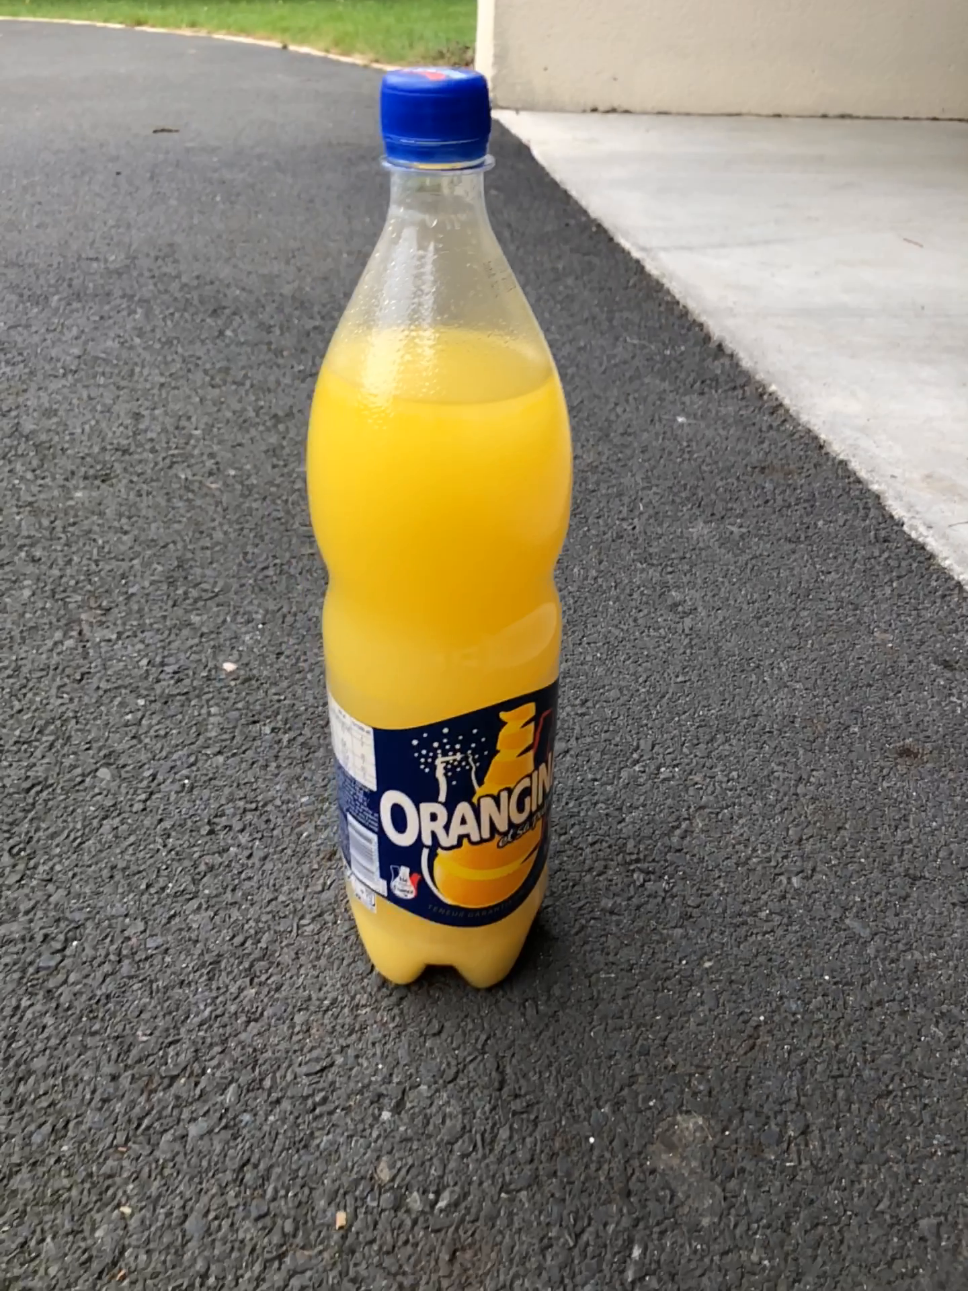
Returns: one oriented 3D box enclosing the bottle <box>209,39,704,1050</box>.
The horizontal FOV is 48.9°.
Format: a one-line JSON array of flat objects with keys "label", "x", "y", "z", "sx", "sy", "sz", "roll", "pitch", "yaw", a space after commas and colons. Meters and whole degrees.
[{"label": "bottle", "x": -0.020, "y": -0.020, "z": 0.385, "sx": 0.100, "sy": 0.338, "sz": 0.100, "roll": 3, "pitch": 33, "yaw": -2}]
